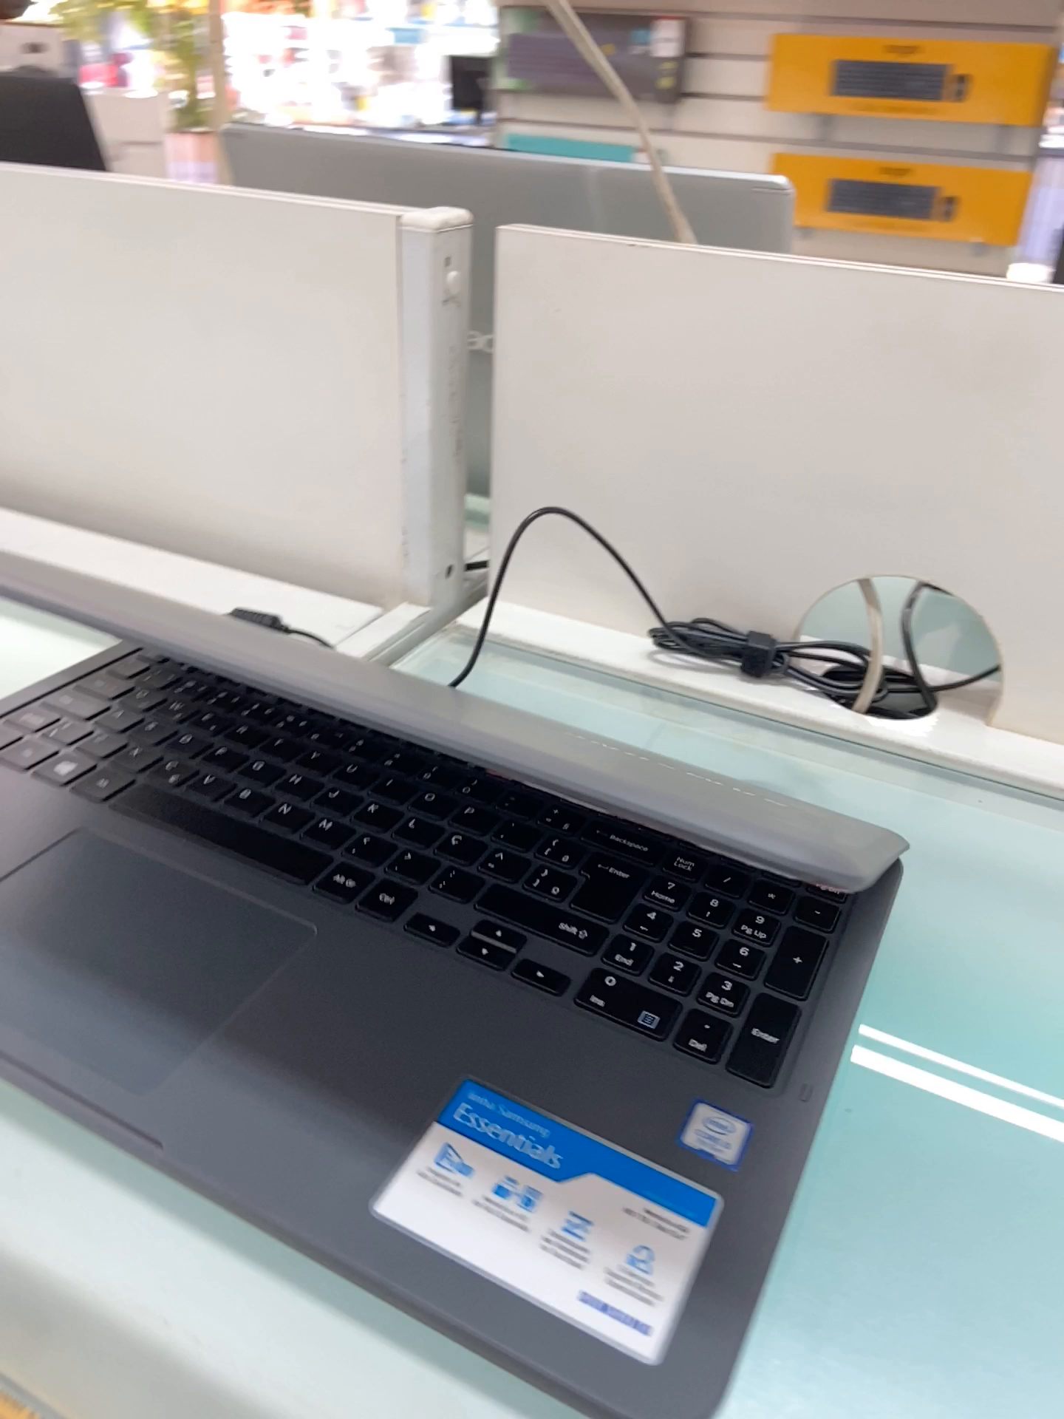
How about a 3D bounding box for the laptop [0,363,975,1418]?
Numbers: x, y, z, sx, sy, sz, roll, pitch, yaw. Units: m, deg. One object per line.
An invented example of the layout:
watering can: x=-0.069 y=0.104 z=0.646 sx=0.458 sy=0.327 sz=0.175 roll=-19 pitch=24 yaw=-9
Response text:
laptop: x=-0.069 y=0.001 z=0.374 sx=0.367 sy=0.126 sz=0.238 roll=18 pitch=33 yaw=21
